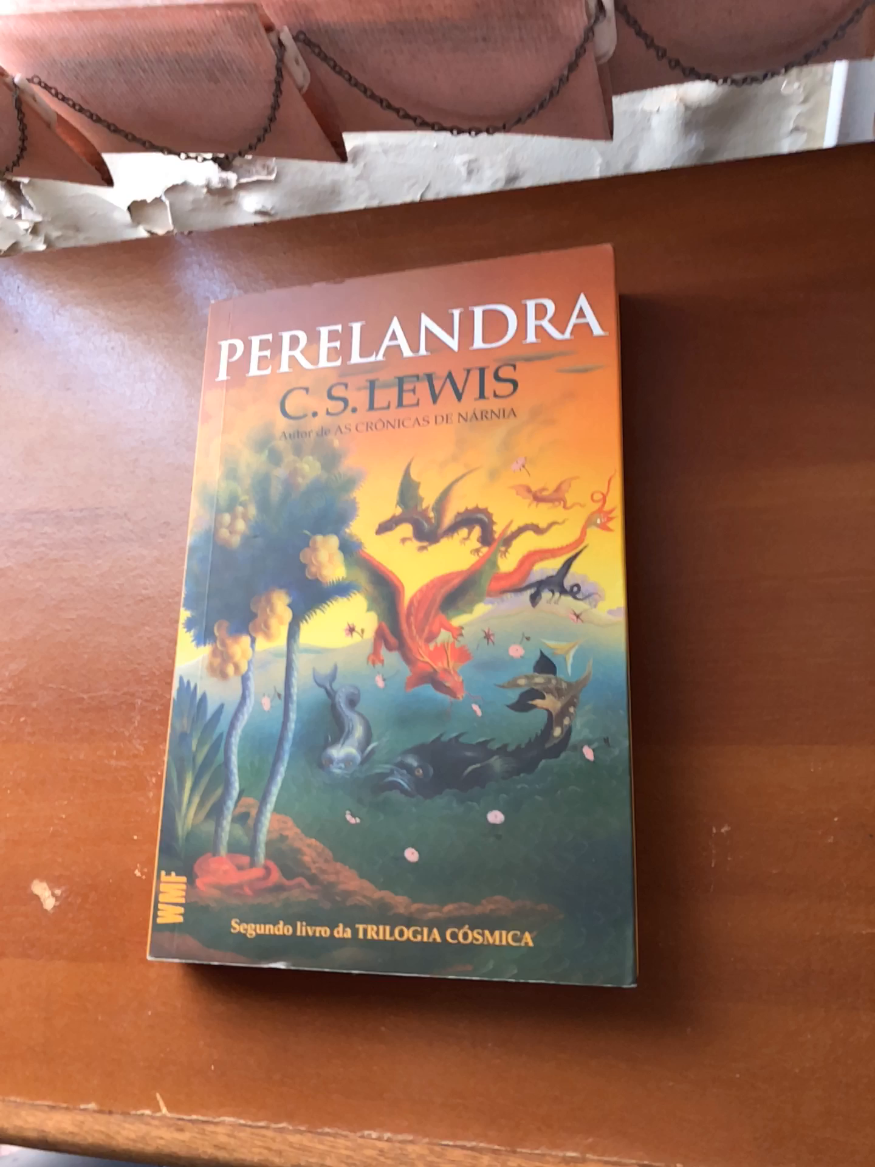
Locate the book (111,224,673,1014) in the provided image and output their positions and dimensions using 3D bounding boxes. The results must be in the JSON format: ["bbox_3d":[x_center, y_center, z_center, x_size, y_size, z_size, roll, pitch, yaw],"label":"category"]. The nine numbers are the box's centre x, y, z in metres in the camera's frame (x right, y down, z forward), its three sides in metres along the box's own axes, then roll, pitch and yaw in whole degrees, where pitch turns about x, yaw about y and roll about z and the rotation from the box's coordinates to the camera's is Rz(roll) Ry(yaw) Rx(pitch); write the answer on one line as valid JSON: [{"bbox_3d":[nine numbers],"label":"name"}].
[{"bbox_3d":[-0.010,0.005,0.257,0.130,0.030,0.190,-3,72,16],"label":"book"}]
